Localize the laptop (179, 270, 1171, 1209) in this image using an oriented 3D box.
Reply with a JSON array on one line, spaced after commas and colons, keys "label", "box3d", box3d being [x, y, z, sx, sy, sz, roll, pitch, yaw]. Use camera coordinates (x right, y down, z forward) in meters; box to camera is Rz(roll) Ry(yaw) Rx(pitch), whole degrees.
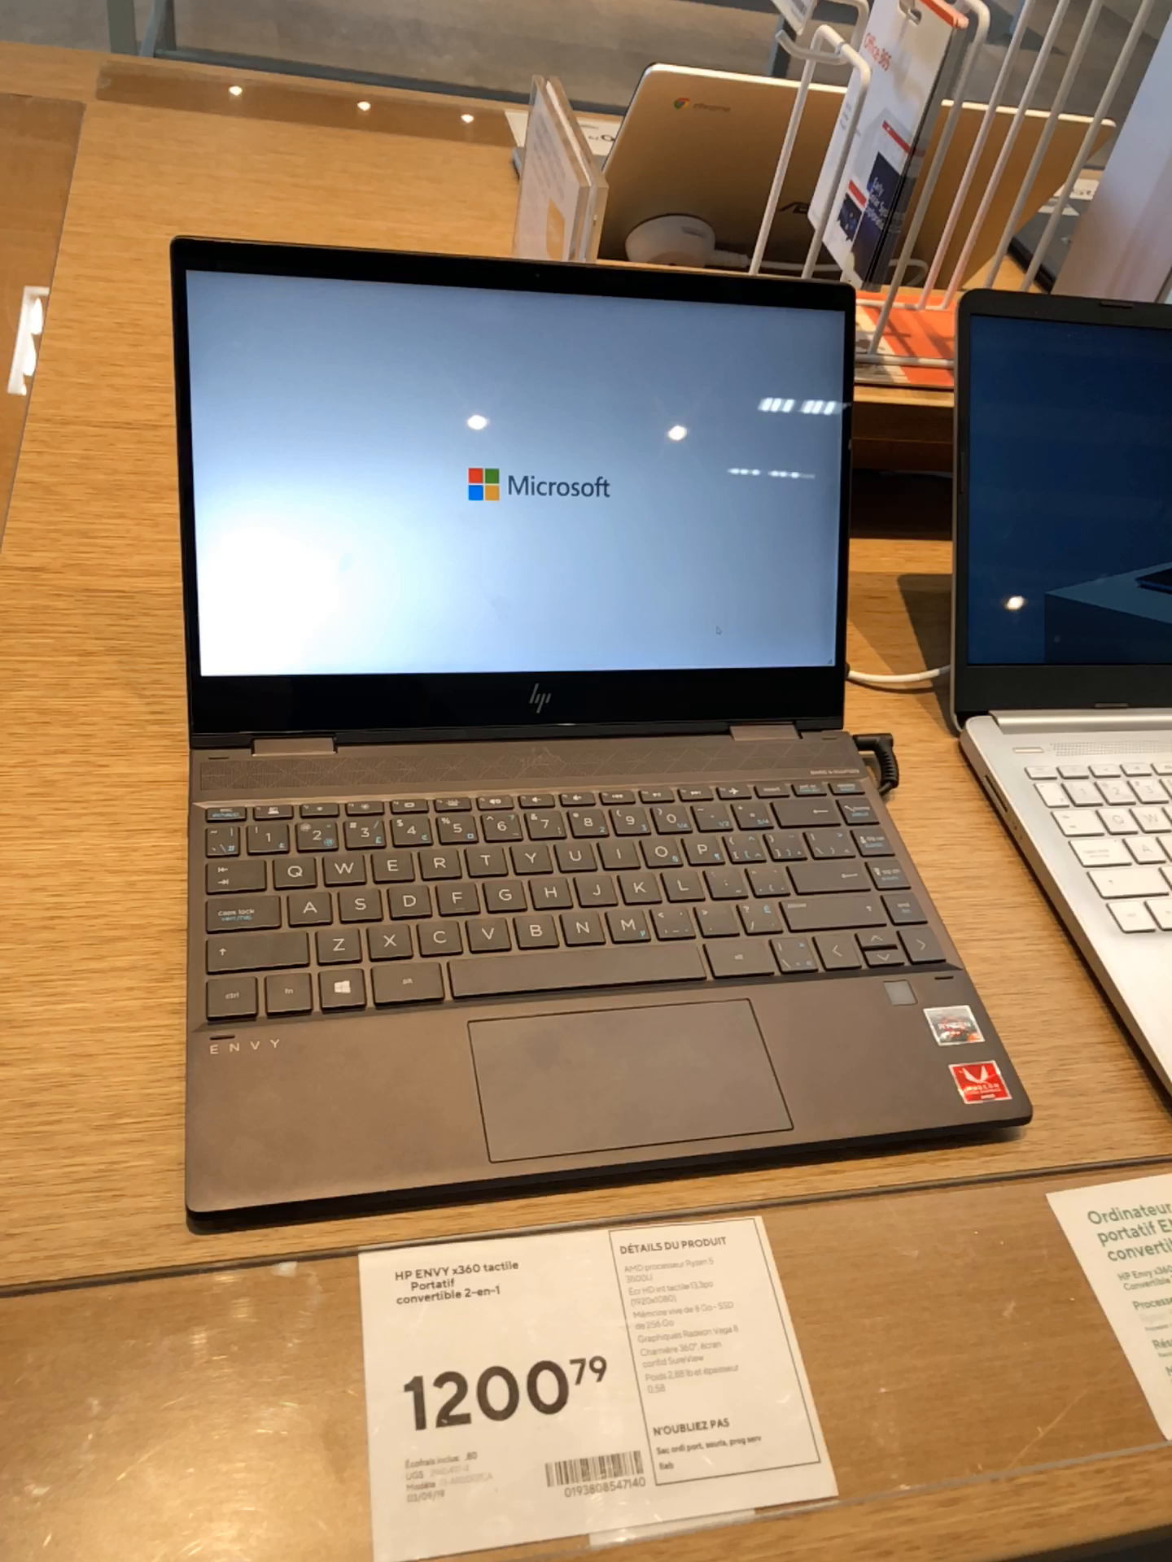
[{"label": "laptop", "box3d": [0.003, -0.041, 0.500, 0.293, 0.162, 0.319, -2, 45, -15]}]
